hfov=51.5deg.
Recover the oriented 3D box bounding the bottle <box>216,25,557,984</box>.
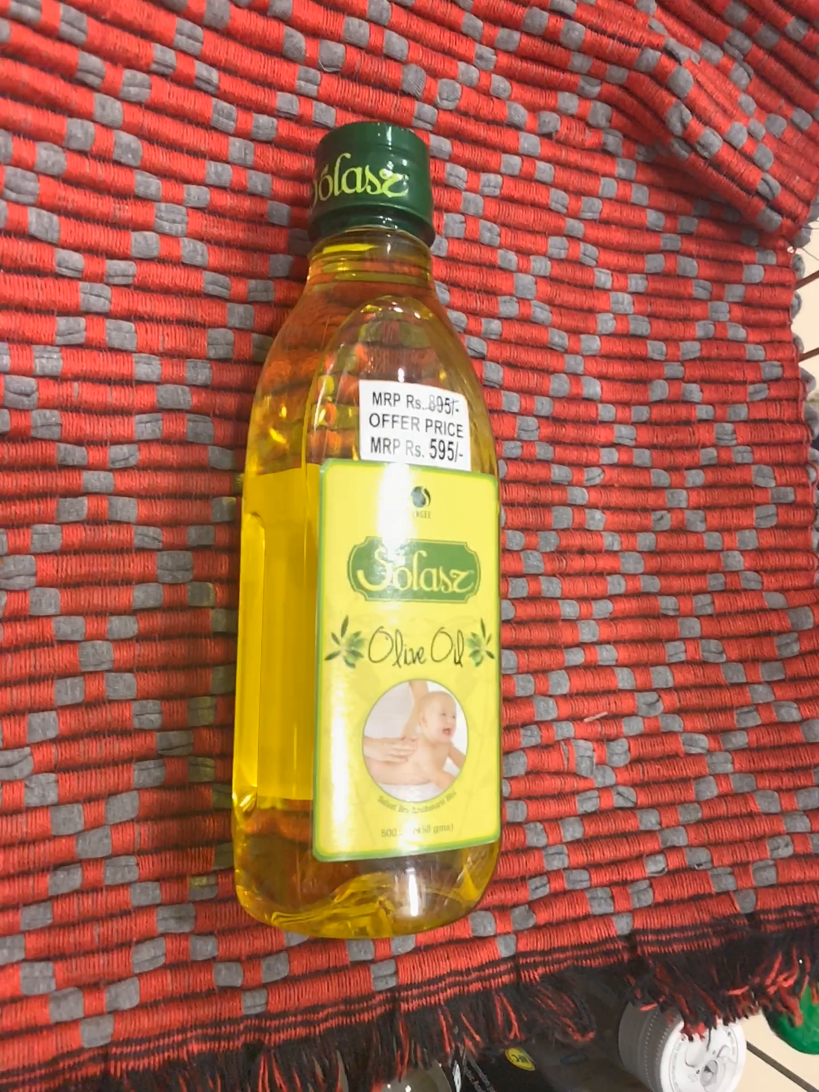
[{"bbox_3d":[-0.008,-0.012,0.233,0.070,0.060,0.220,3,81,-24],"label":"bottle"}]
